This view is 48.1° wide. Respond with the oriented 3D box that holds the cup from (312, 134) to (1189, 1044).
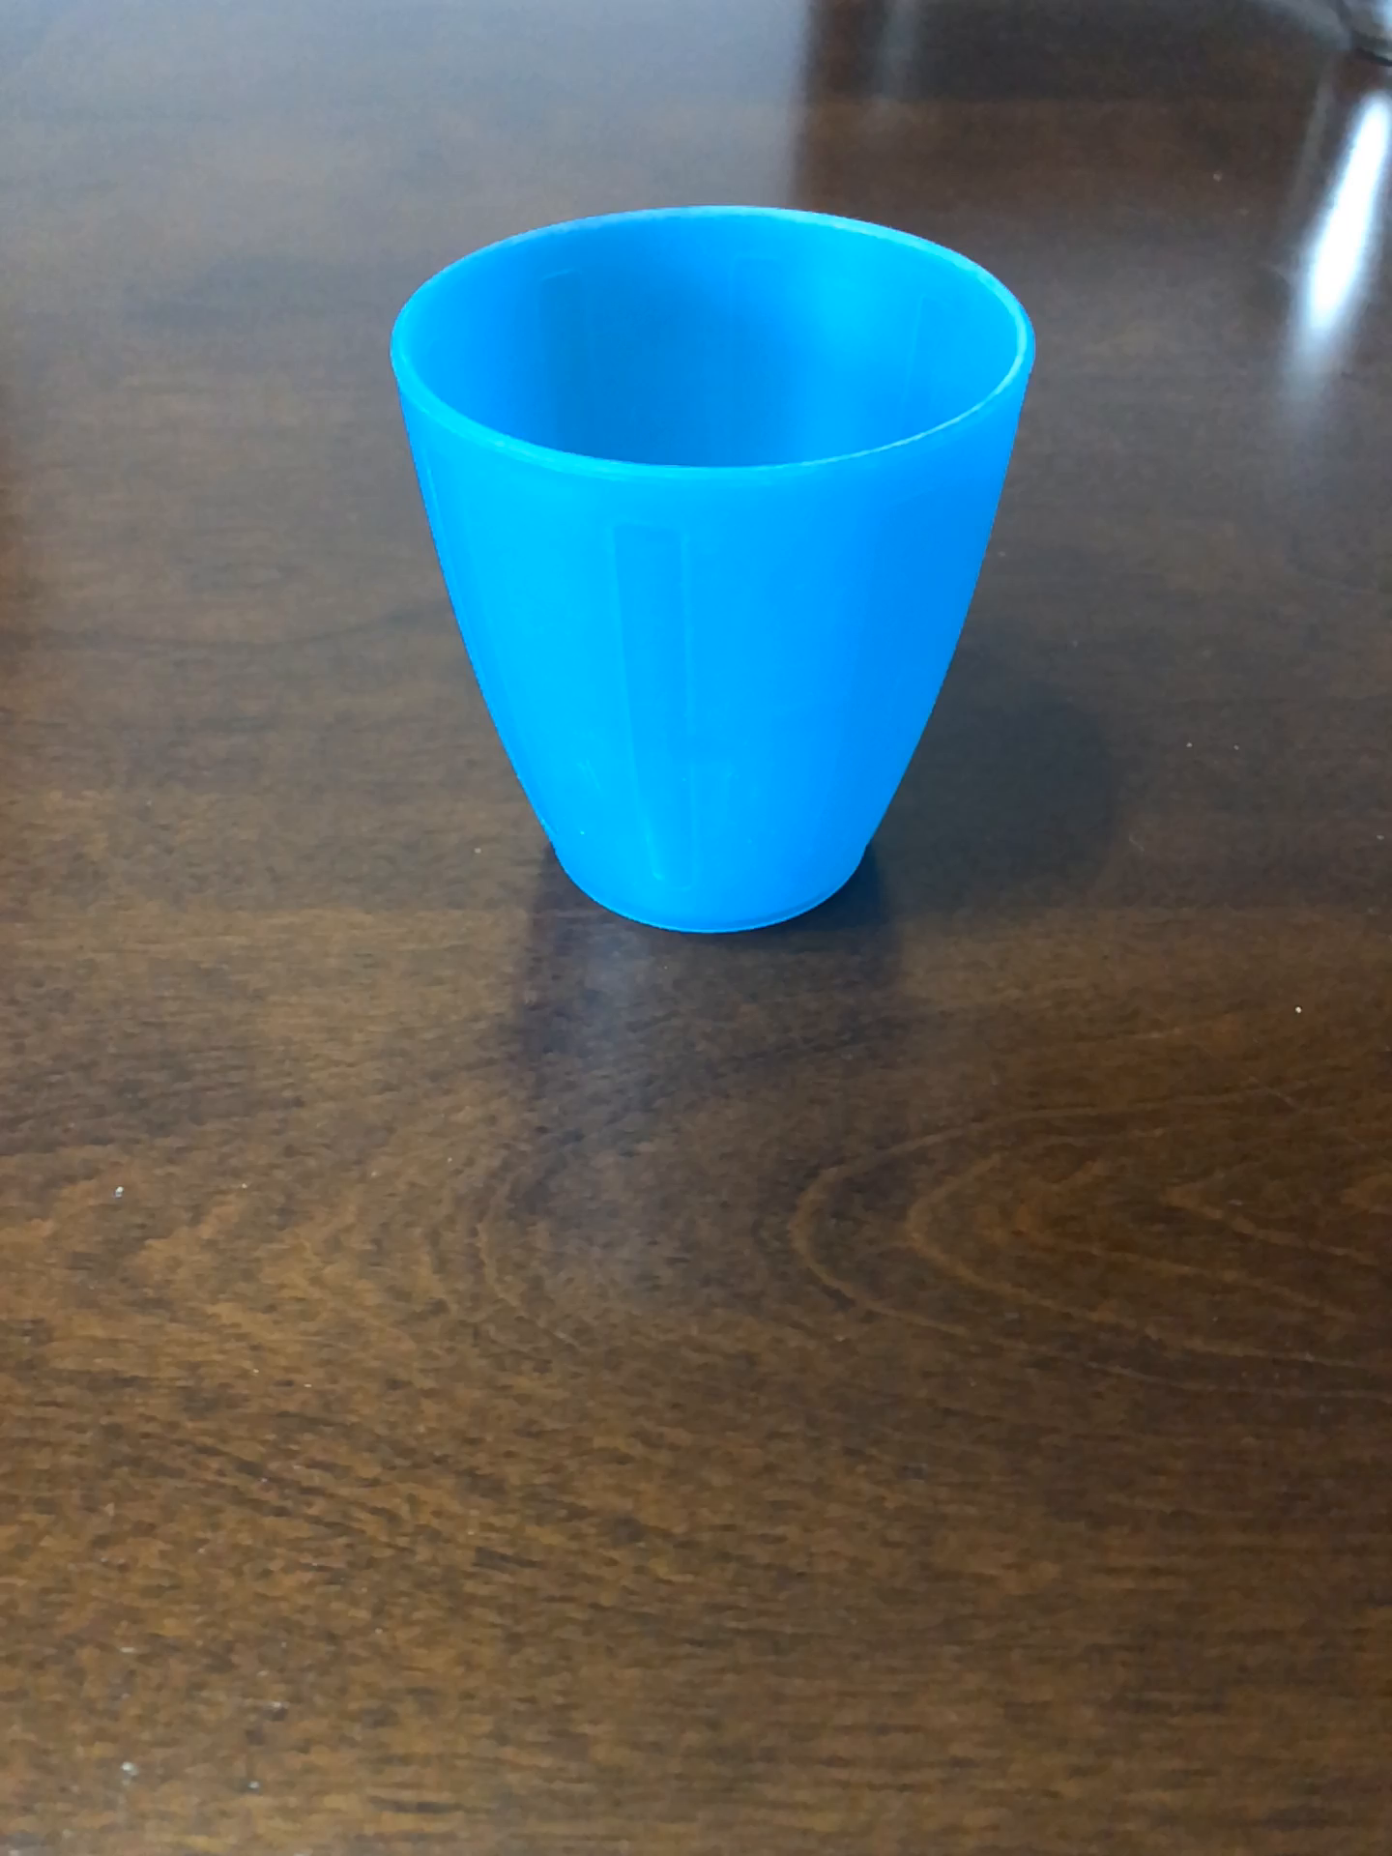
[{"bbox_3d":[0.002,-0.046,0.204,0.080,0.080,0.070,-13,45,-13],"label":"cup"}]
